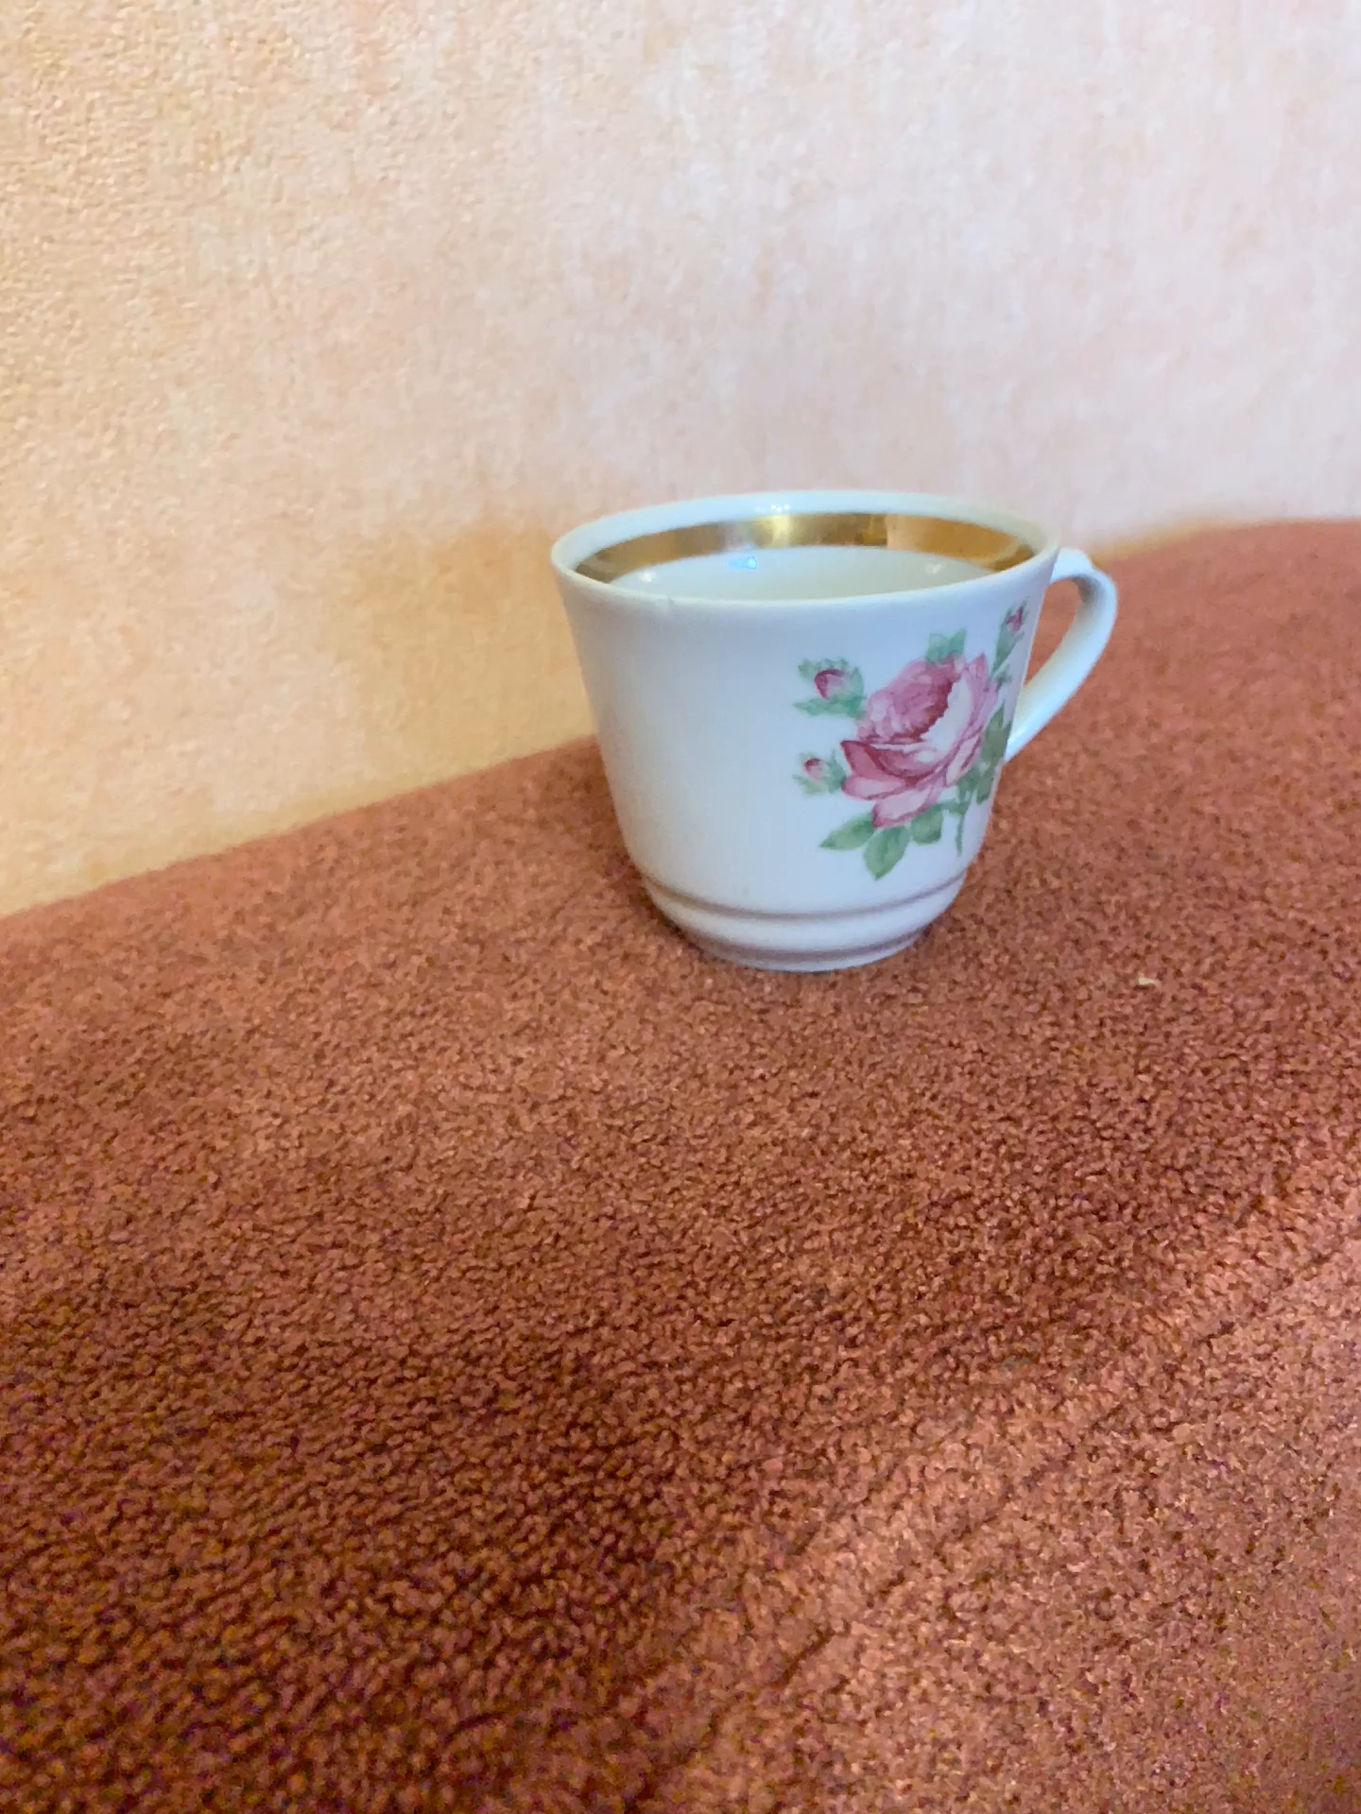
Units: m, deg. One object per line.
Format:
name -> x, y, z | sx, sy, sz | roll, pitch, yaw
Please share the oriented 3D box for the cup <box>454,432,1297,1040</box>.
cup -> 0.023, -0.030, 0.196 | 0.086, 0.047, 0.067 | -16, 31, -22
